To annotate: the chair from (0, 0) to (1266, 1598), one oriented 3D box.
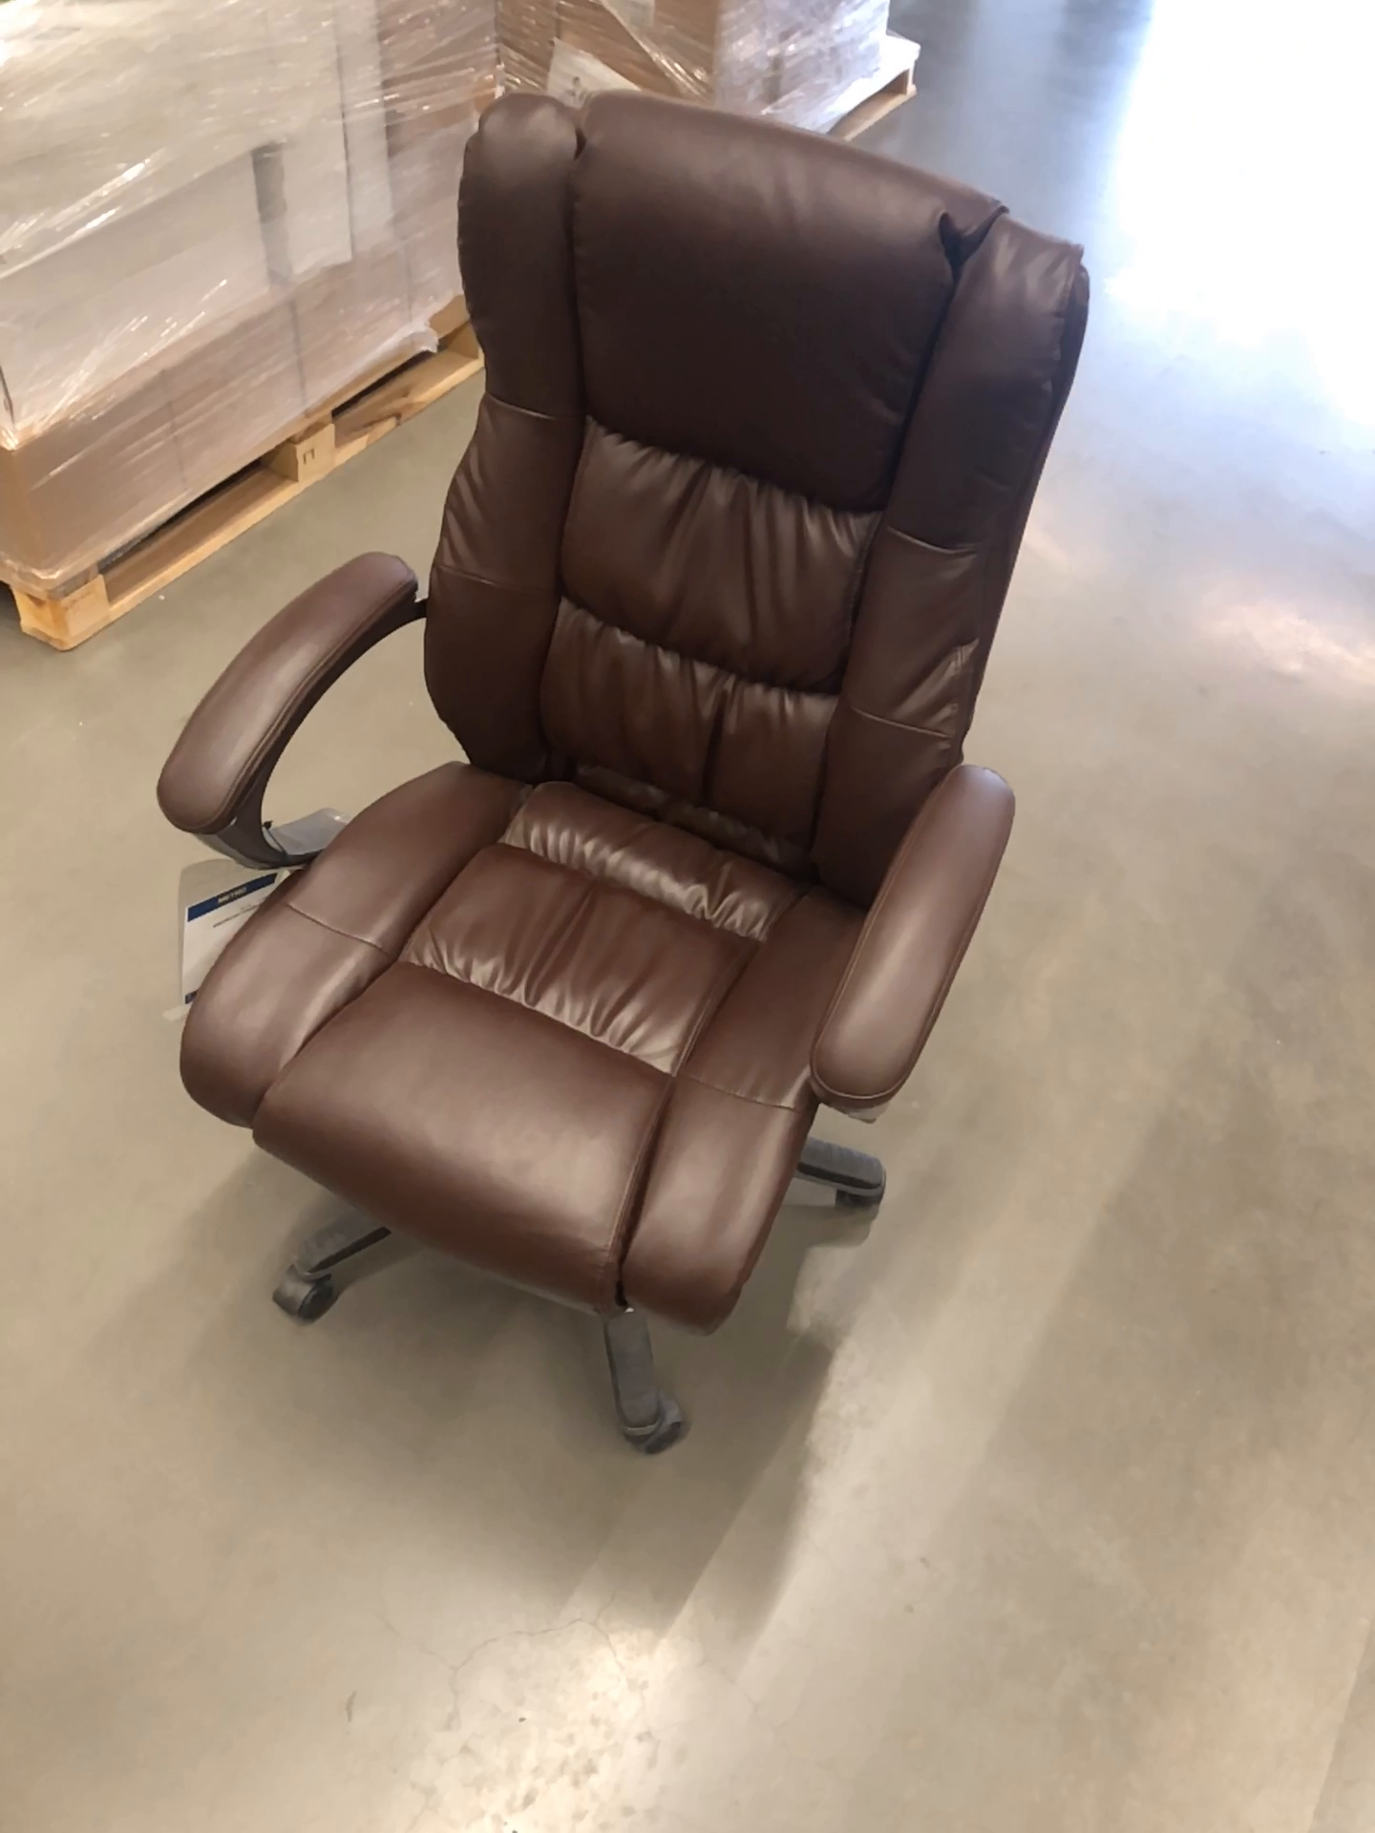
[{"bbox_3d":[-0.098,-0.055,1.310,0.680,1.093,0.654,23,50,14],"label":"chair"}]
